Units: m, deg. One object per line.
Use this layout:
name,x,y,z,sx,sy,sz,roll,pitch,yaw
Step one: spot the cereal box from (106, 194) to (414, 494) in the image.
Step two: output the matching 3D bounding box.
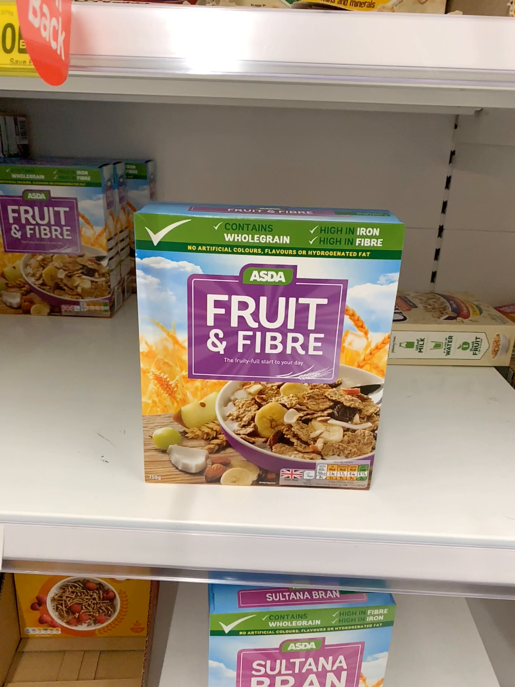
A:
cereal box,-0.001,0.002,0.492,0.240,0.258,0.081,2,19,0
